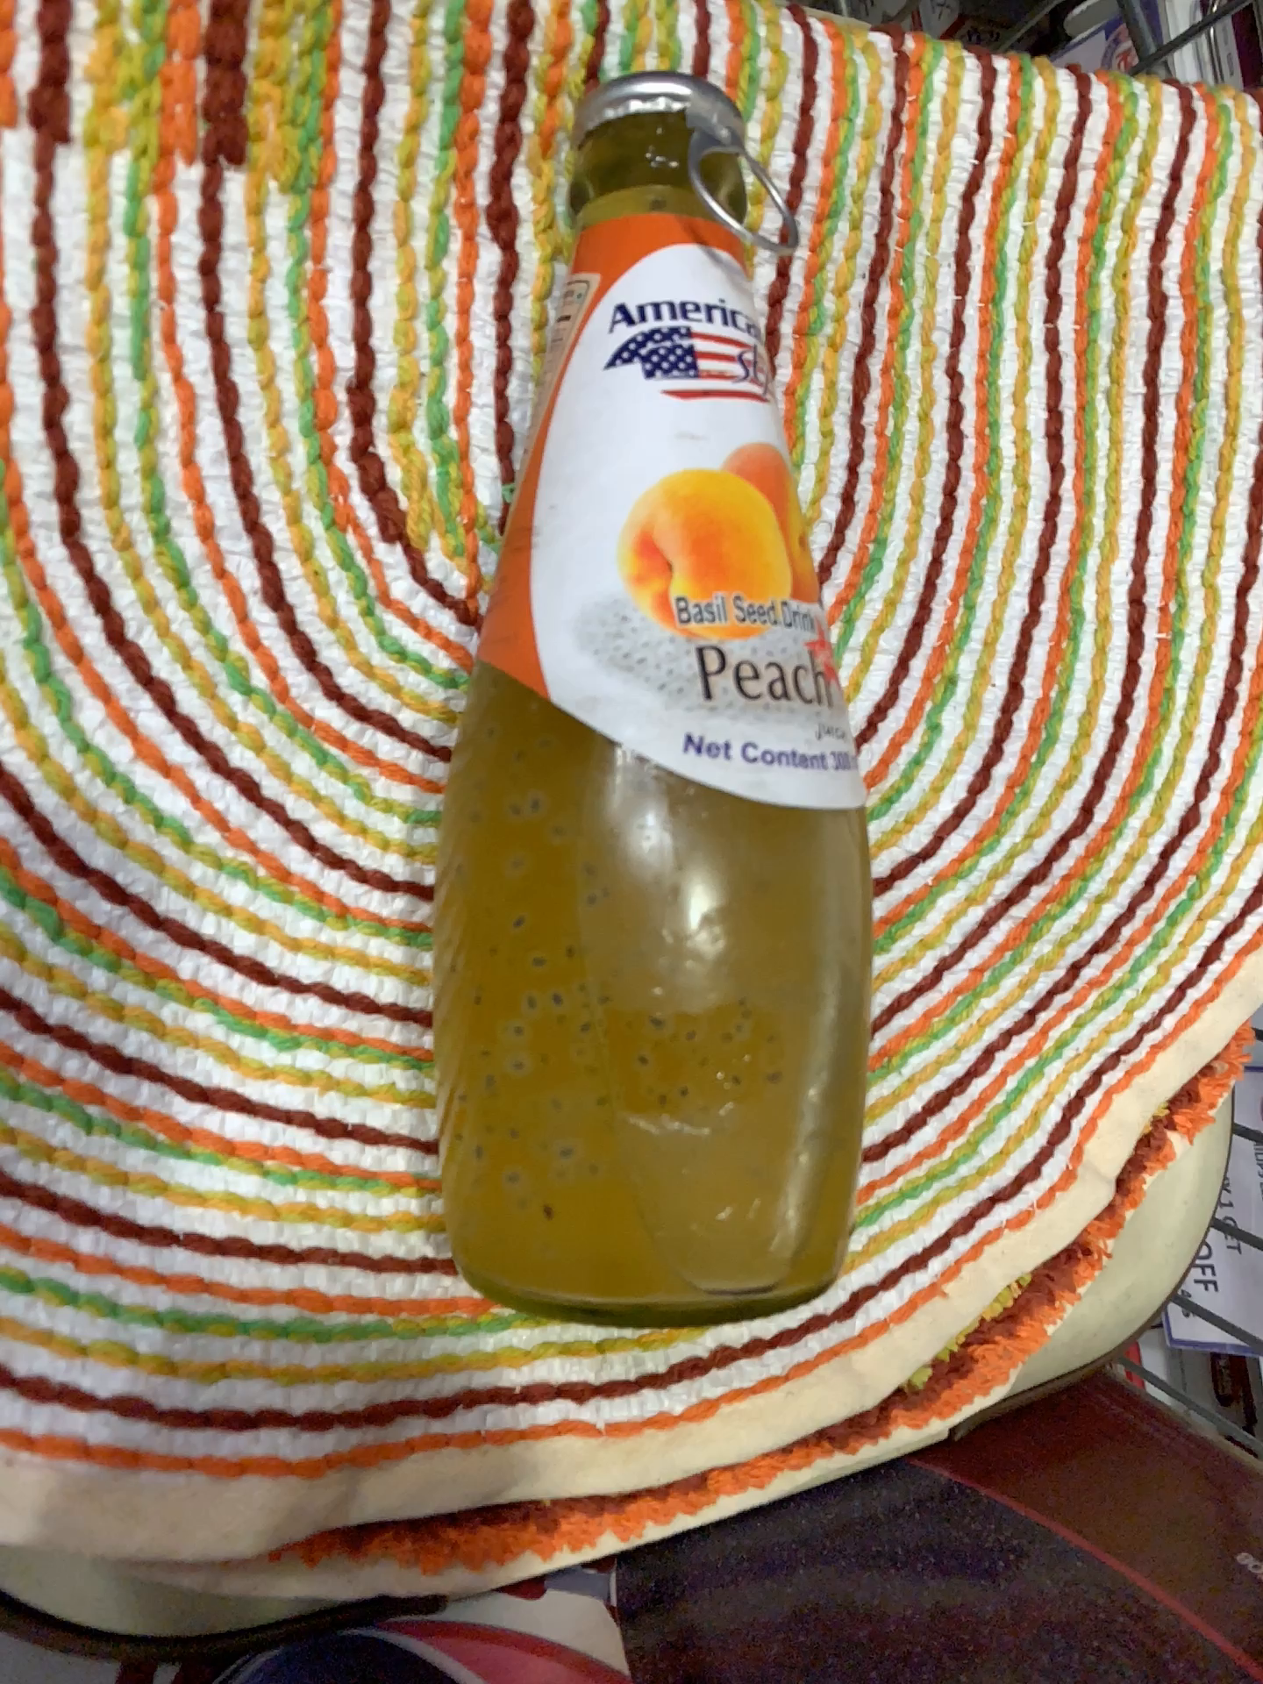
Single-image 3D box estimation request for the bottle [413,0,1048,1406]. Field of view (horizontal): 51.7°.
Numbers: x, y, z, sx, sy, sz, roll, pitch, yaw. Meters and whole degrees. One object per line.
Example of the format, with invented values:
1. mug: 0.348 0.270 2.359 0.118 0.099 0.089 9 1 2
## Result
1. bottle: 0.013 -0.027 0.211 0.070 0.060 0.200 7 77 -45
